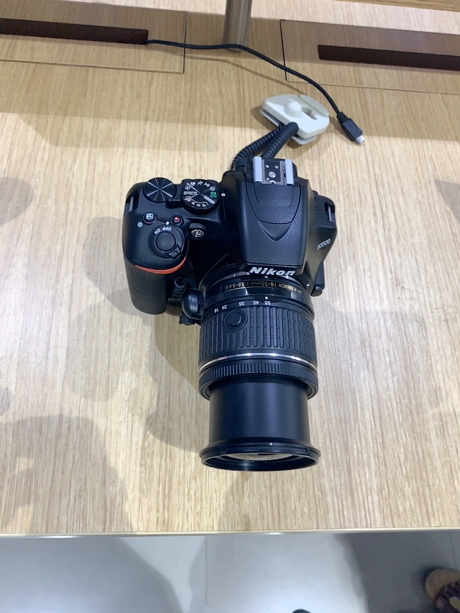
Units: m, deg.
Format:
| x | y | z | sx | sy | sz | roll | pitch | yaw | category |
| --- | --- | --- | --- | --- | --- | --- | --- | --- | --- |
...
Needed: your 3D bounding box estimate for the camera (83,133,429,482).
| x | y | z | sx | sy | sz | roll | pitch | yaw | category |
| --- | --- | --- | --- | --- | --- | --- | --- | --- | --- |
| 0.004 | 0.007 | 0.231 | 0.115 | 0.100 | 0.136 | 1 | 64 | -6 | camera |
